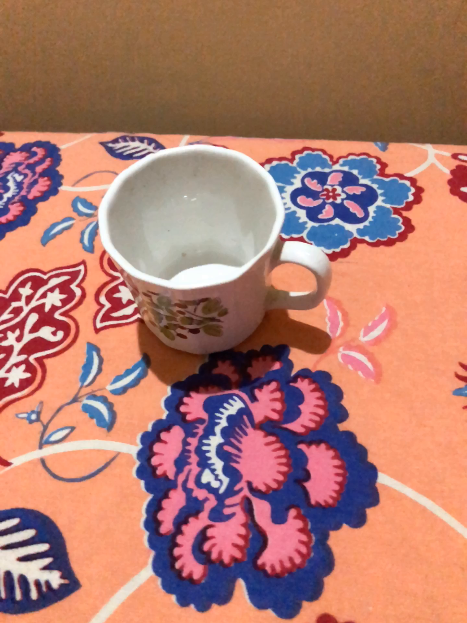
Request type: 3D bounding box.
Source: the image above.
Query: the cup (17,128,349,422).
[{"bbox_3d":[-0.012,-0.013,0.195,0.090,0.070,0.060,16,62,16],"label":"cup"}]
